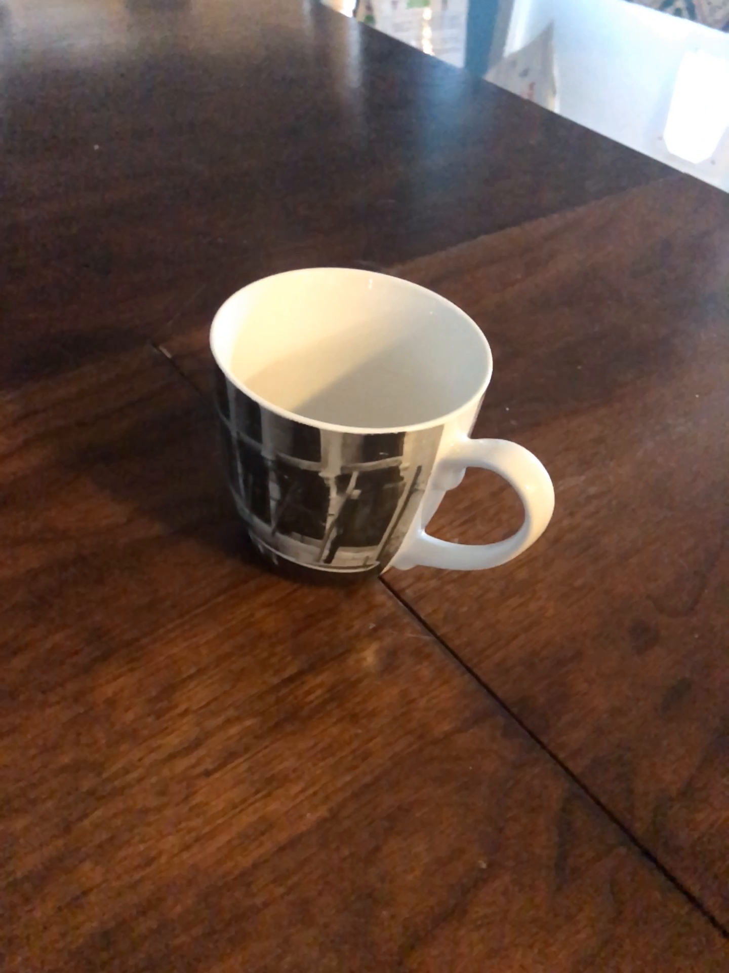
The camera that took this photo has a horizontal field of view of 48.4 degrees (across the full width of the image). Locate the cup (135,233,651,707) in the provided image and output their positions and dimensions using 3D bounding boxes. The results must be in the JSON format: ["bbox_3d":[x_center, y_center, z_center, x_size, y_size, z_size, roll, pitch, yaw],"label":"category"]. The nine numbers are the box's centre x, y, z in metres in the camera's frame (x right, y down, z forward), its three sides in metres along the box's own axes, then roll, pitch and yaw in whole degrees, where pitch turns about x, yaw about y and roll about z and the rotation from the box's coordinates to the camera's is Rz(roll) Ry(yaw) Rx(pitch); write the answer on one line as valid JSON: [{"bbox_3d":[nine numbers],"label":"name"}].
[{"bbox_3d":[0.008,-0.014,0.295,0.140,0.080,0.100,29,47,21],"label":"cup"}]
